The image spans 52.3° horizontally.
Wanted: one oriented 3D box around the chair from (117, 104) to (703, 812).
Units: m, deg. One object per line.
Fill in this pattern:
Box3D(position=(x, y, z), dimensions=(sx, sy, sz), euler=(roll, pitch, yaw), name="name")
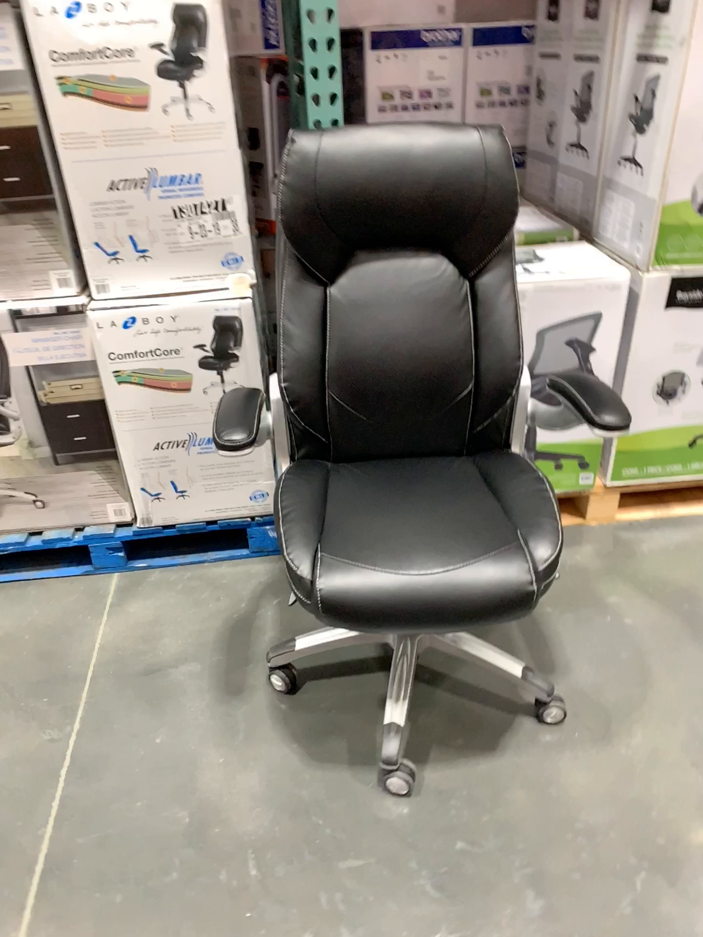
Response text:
Box3D(position=(0.114, -0.030, 1.386), dimensions=(0.728, 1.128, 0.708), euler=(-3, 31, -1), name="chair")
